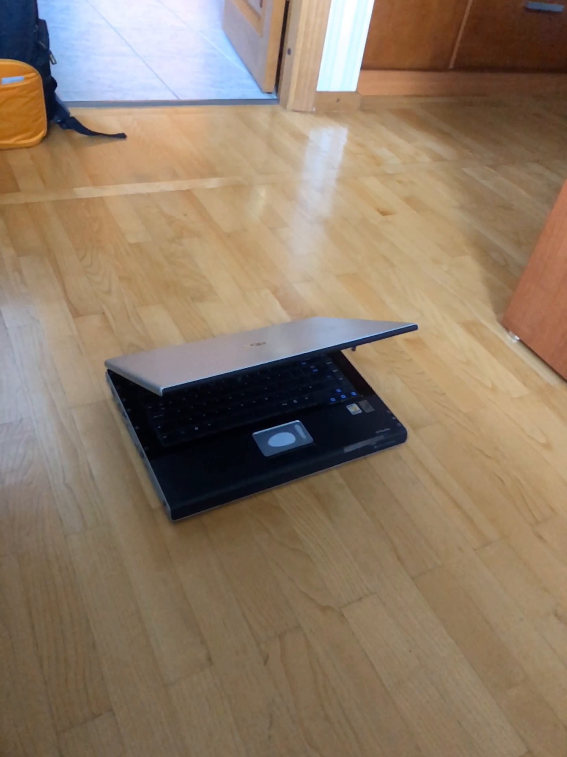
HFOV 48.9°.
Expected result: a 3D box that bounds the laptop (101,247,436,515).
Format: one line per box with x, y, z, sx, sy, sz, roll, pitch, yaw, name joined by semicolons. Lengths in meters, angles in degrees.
-0.029;-0.020;0.862;0.363;0.147;0.269;-14;49;-27;laptop
